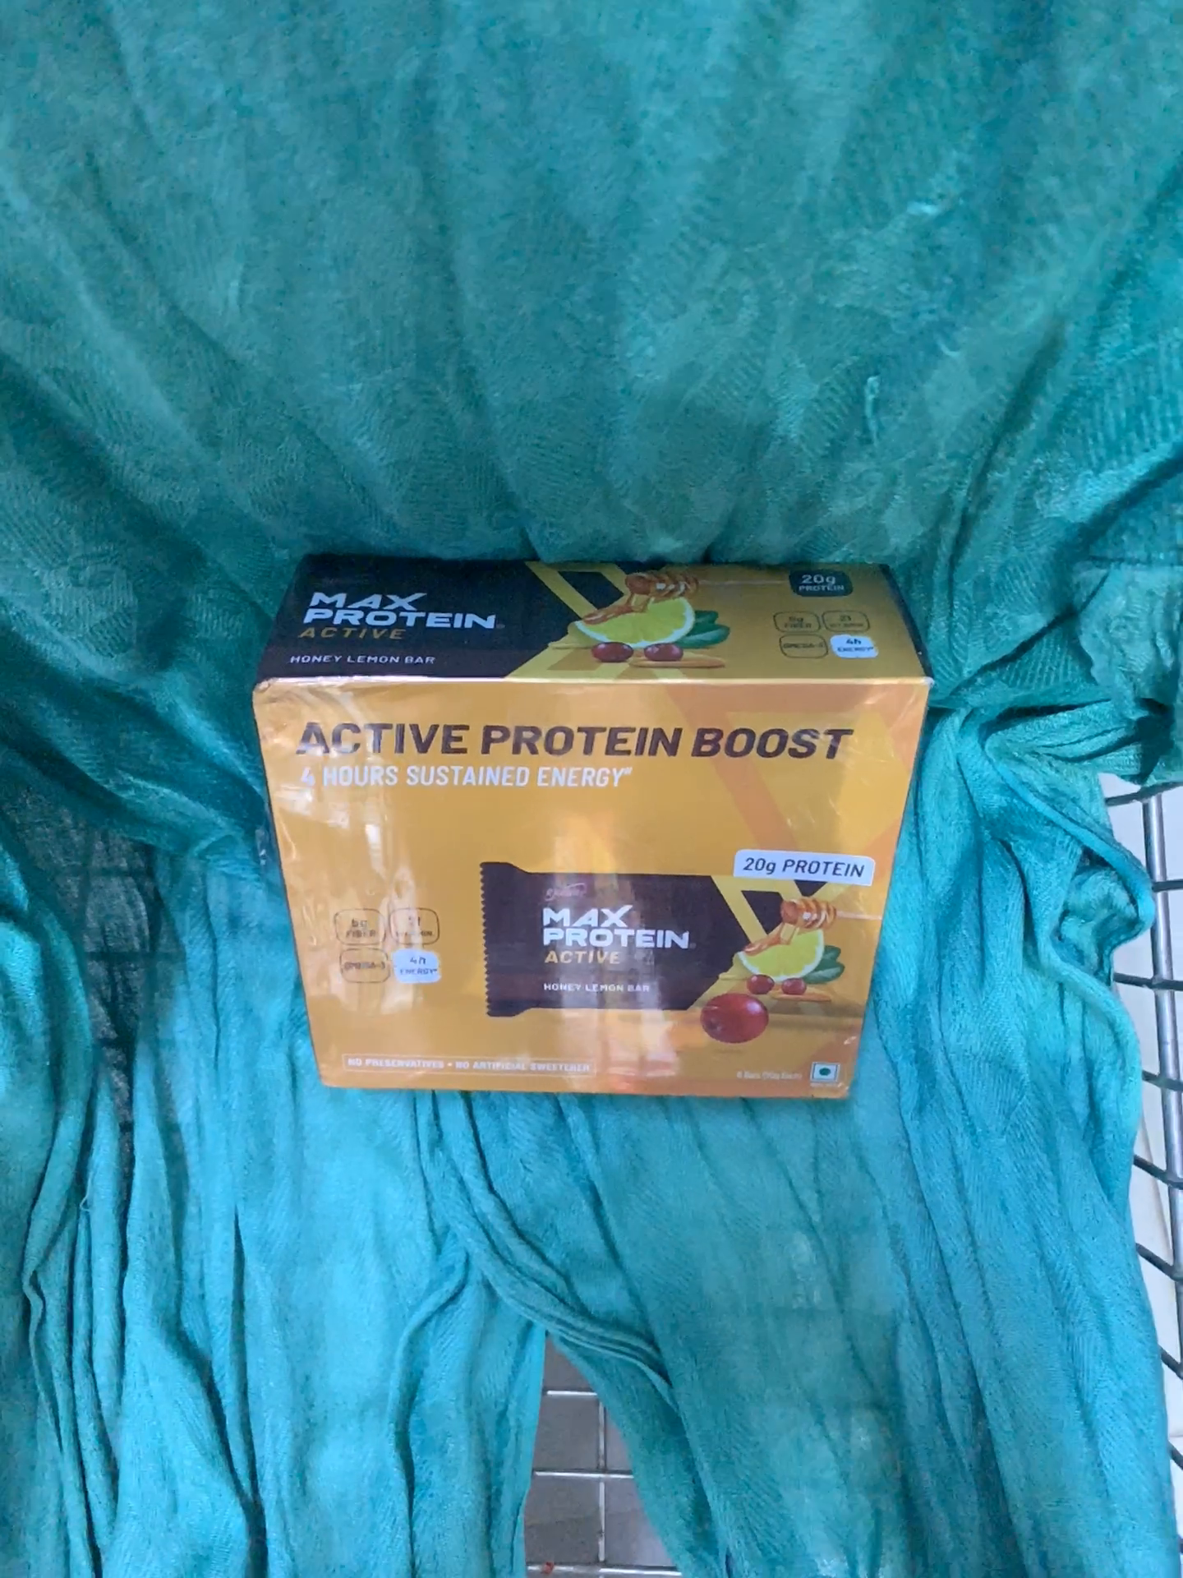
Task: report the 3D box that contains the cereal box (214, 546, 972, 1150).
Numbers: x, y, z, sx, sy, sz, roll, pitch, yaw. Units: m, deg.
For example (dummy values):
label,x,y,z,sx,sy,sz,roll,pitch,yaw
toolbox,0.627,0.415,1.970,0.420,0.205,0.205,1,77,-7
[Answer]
label,x,y,z,sx,sy,sz,roll,pitch,yaw
cereal box,0.001,0.016,0.328,0.160,0.080,0.140,1,123,1
